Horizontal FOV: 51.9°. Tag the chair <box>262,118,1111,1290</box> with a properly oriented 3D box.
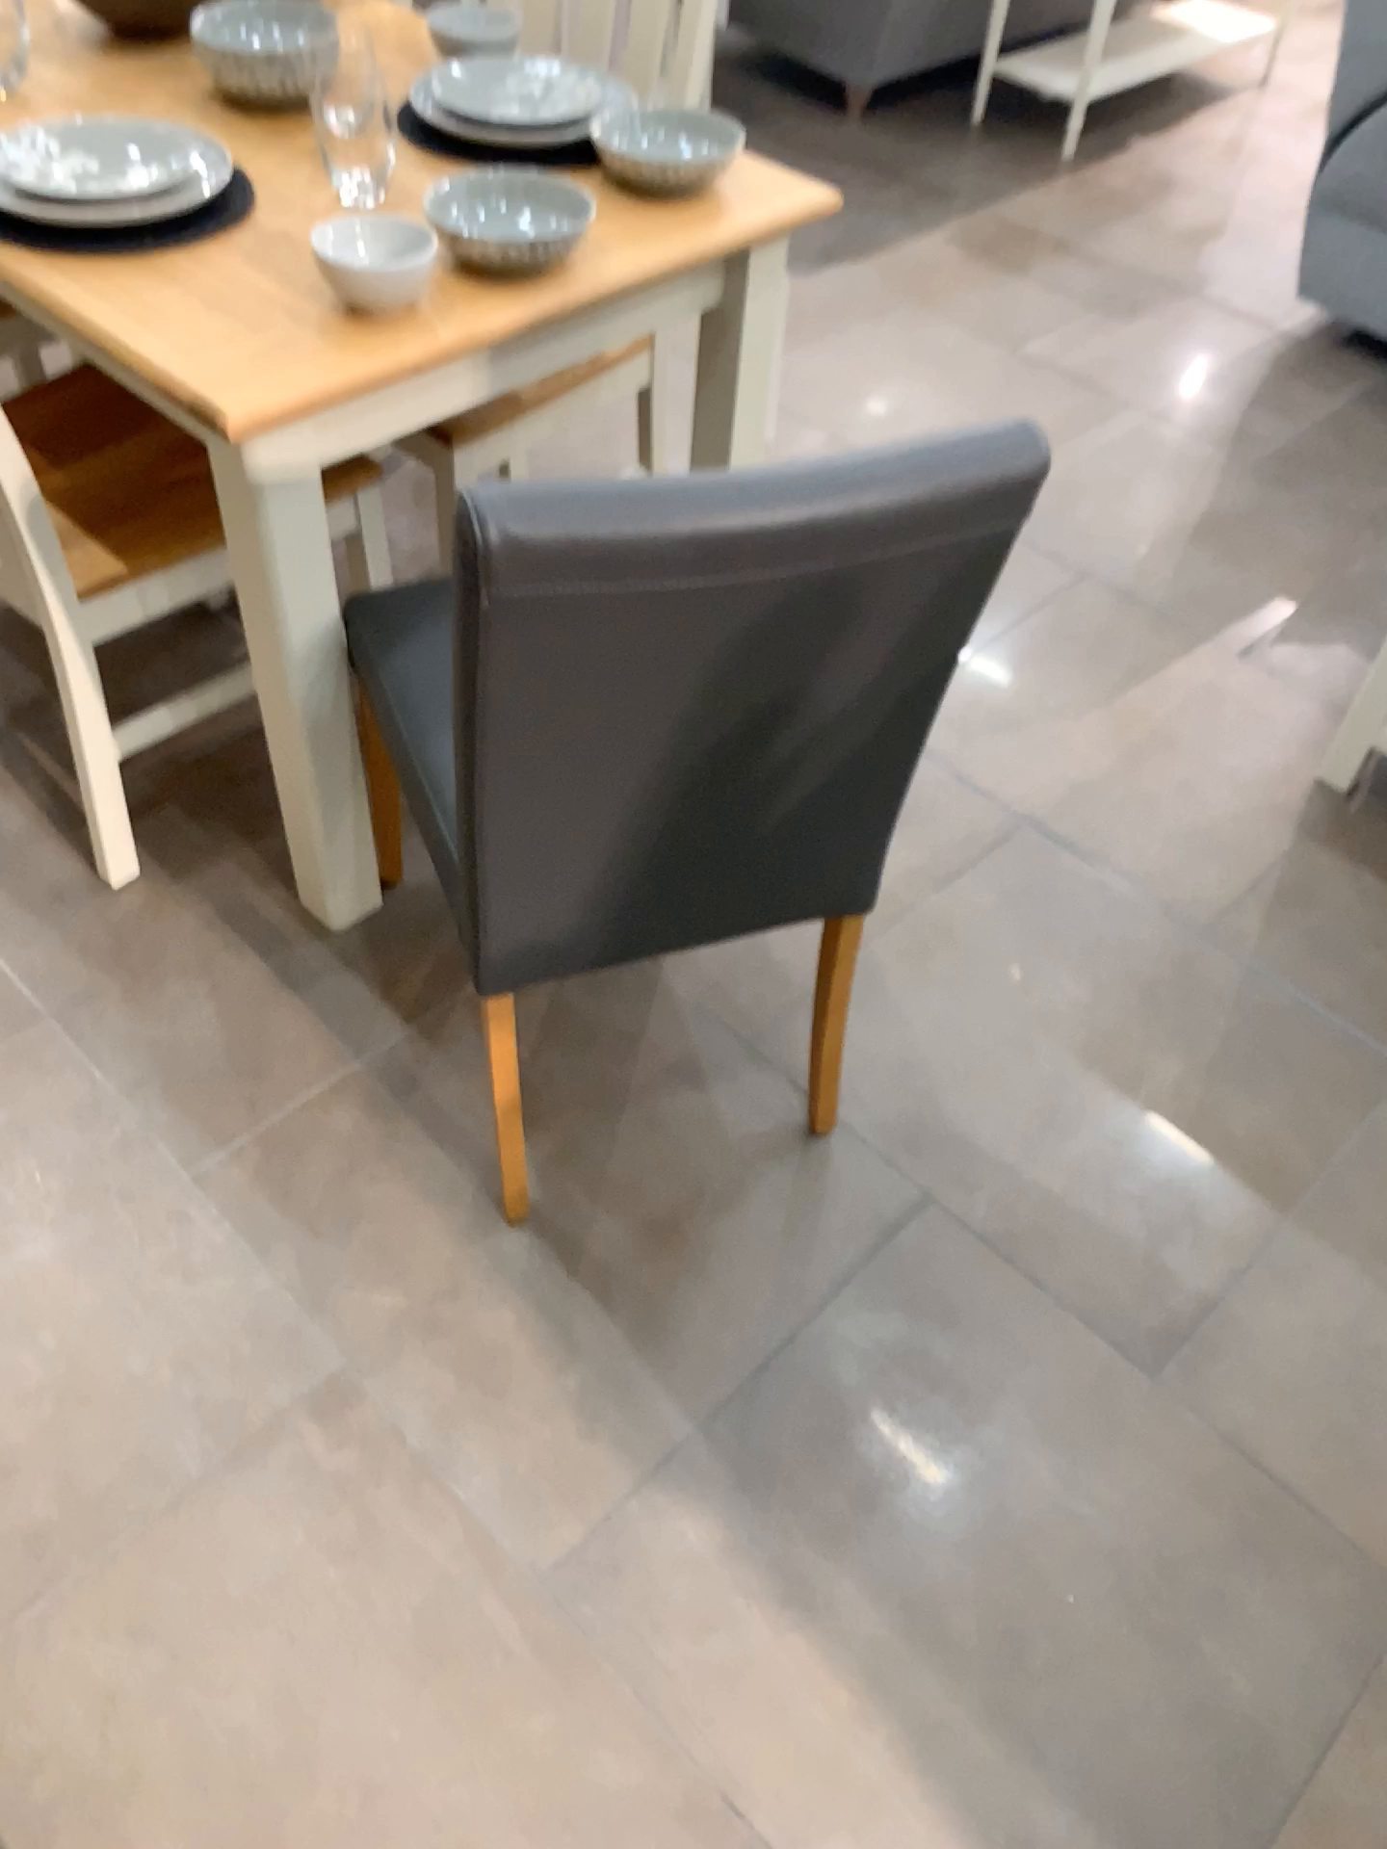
[{"bbox_3d":[-0.077,-0.200,1.454,0.476,0.906,0.654,-13,50,-17],"label":"chair"}]
